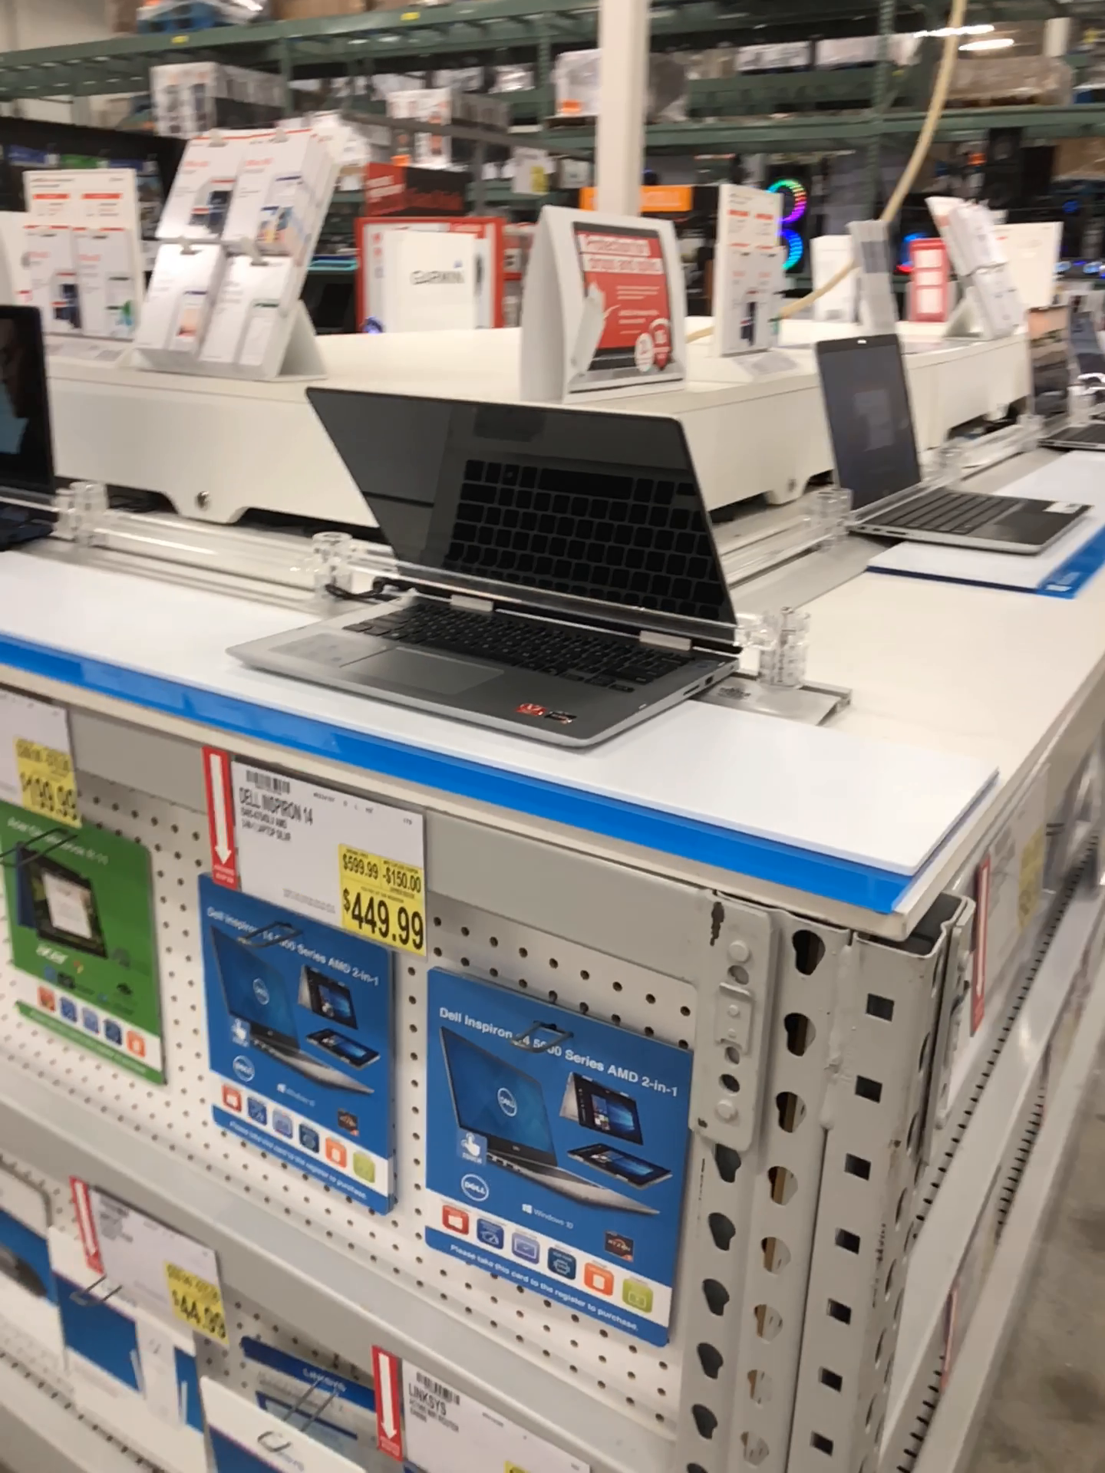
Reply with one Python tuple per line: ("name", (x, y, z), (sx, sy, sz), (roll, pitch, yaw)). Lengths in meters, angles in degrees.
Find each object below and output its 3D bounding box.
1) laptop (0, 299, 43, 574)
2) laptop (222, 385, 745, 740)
("laptop", (-0.851, -0.365, 1.404), (0.365, 0.239, 0.285), (13, 26, 28))
("laptop", (-0.050, -0.146, 0.879), (0.308, 0.183, 0.210), (14, 24, 32))
